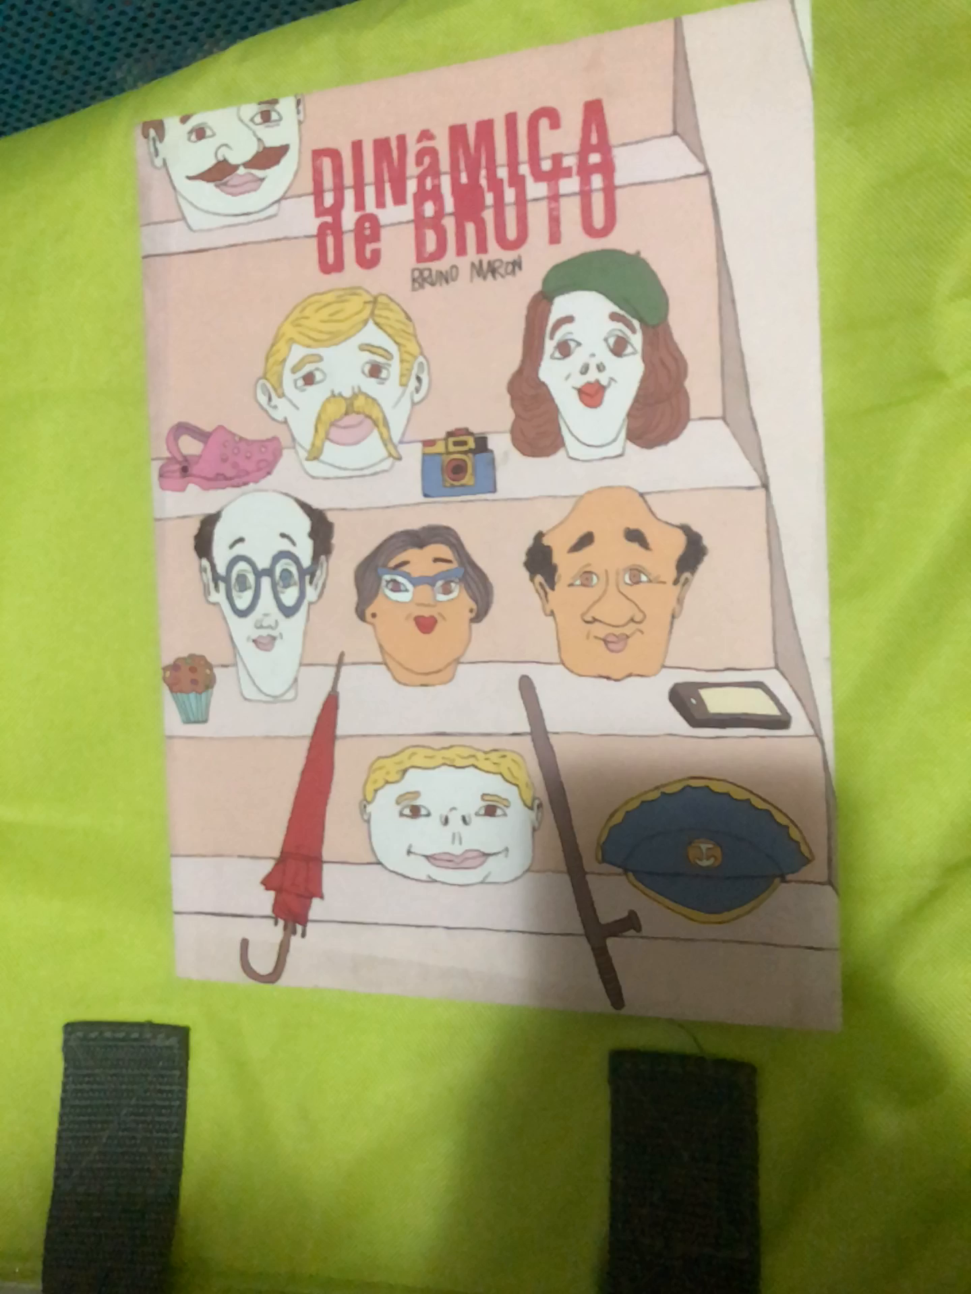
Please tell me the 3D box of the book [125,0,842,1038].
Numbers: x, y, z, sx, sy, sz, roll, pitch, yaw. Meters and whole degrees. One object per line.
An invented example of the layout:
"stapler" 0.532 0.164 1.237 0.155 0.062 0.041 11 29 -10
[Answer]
"book" -0.006 -0.030 0.278 0.178 0.020 0.239 -2 92 19
